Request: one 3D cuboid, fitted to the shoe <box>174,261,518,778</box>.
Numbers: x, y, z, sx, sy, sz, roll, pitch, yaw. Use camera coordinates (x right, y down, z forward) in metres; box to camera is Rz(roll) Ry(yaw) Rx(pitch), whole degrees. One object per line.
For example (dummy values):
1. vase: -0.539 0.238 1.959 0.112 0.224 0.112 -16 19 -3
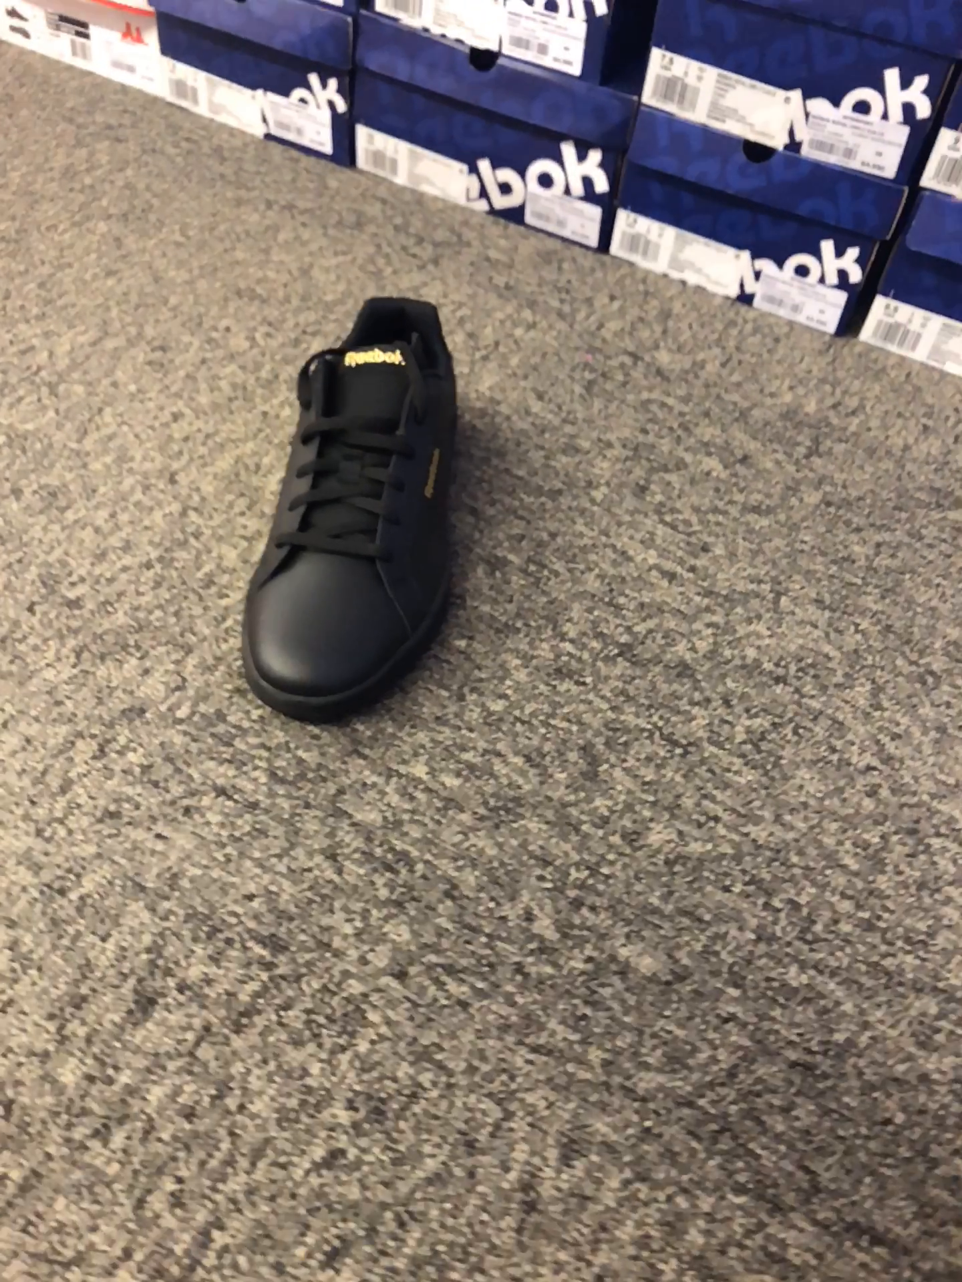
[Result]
1. shoe: -0.054 -0.073 0.534 0.098 0.090 0.261 11 51 3
